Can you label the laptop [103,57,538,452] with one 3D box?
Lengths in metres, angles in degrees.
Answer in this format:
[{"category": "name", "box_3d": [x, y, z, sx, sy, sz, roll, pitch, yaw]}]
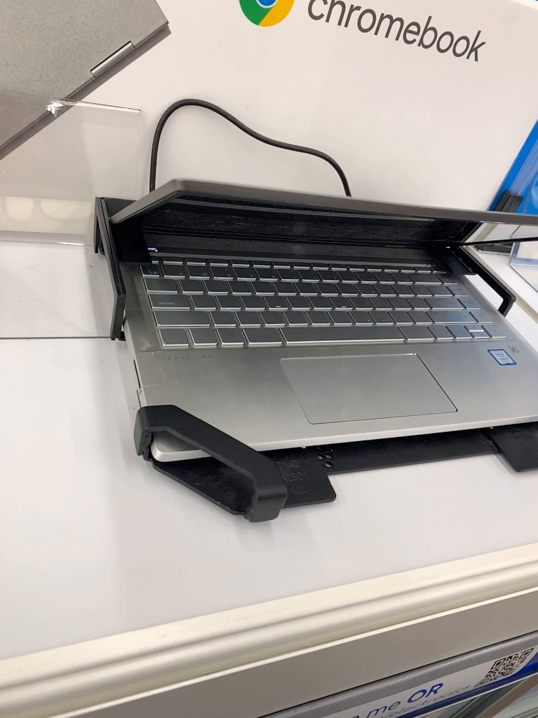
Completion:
[{"category": "laptop", "box_3d": [0.063, -0.069, 0.339, 0.284, 0.111, 0.194, -2, 43, -22]}]
